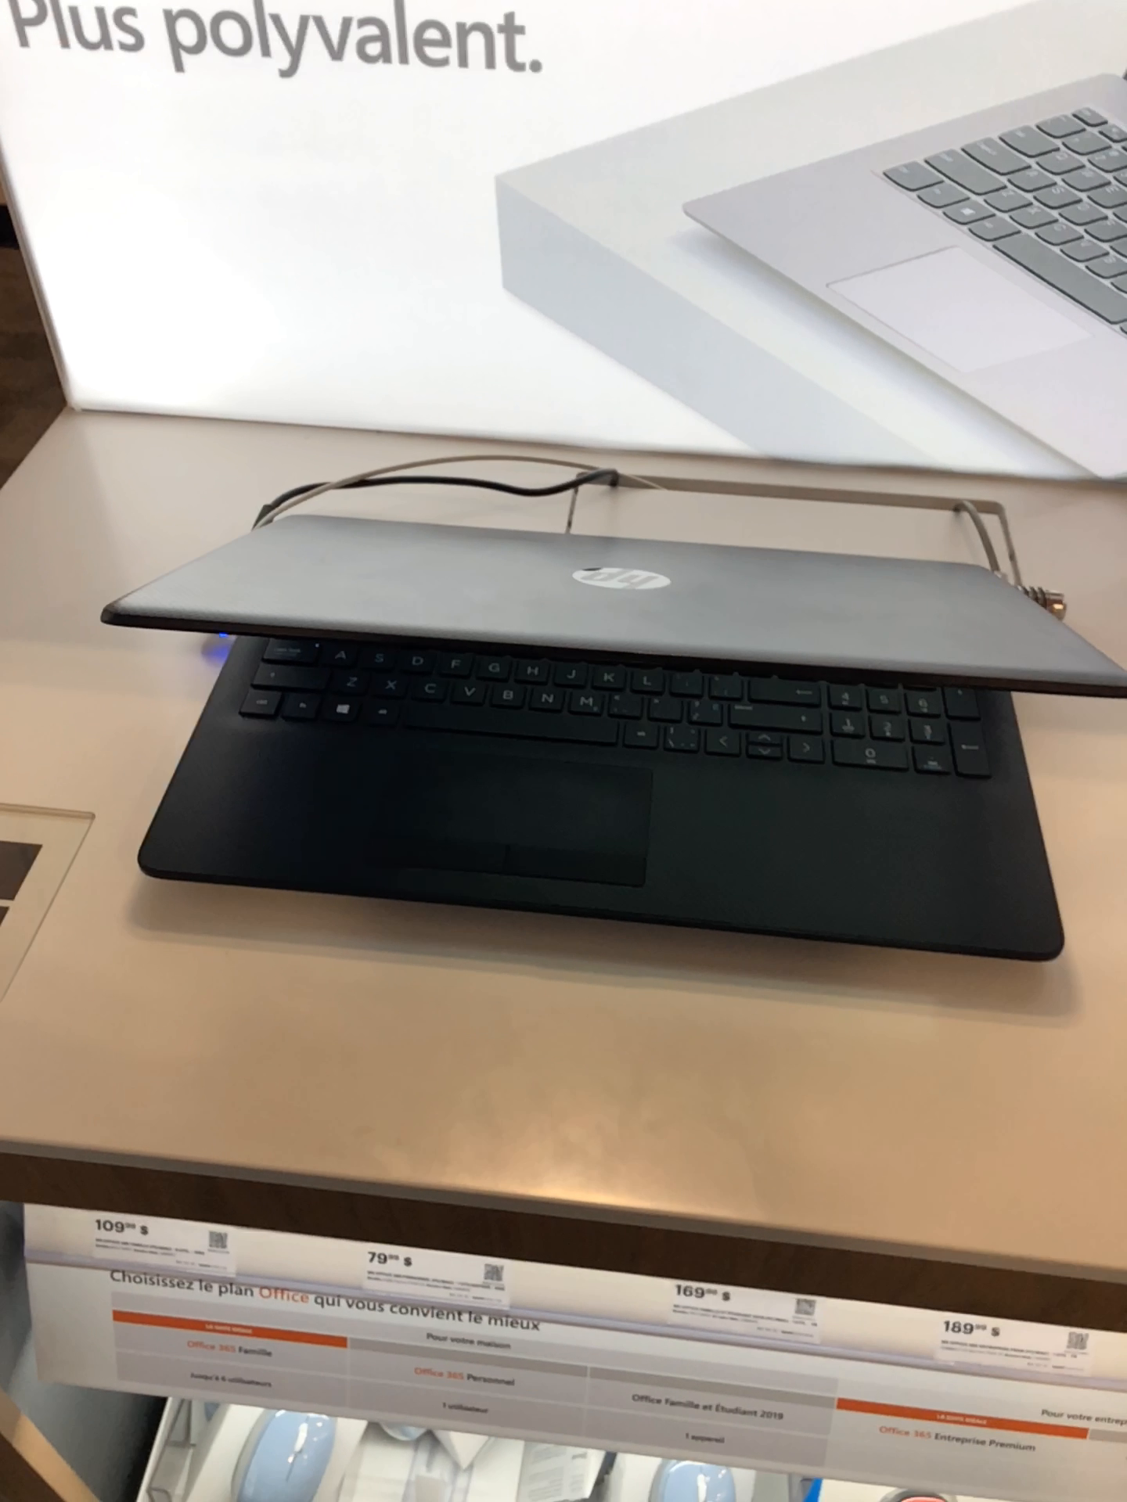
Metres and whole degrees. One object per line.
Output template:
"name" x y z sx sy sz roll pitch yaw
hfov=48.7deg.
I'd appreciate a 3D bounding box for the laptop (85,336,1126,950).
"laptop" 0.022 -0.061 0.536 0.351 0.107 0.239 5 45 5
